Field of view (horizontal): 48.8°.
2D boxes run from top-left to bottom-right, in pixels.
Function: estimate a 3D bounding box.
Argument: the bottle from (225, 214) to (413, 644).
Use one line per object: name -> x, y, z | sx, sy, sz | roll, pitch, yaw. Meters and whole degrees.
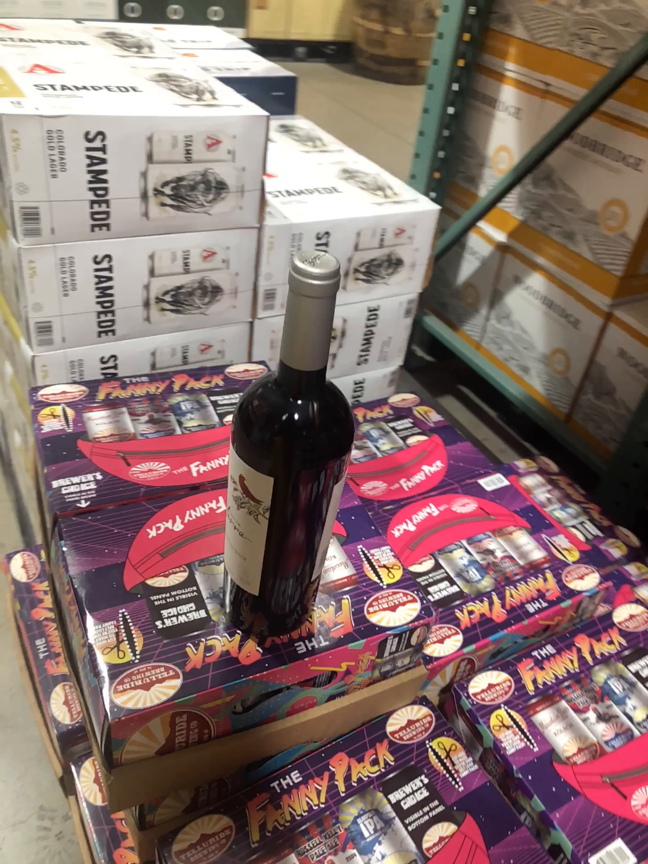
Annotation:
bottle -> -0.018, 0.015, 0.482 | 0.080, 0.298, 0.080 | 6, 37, -4
